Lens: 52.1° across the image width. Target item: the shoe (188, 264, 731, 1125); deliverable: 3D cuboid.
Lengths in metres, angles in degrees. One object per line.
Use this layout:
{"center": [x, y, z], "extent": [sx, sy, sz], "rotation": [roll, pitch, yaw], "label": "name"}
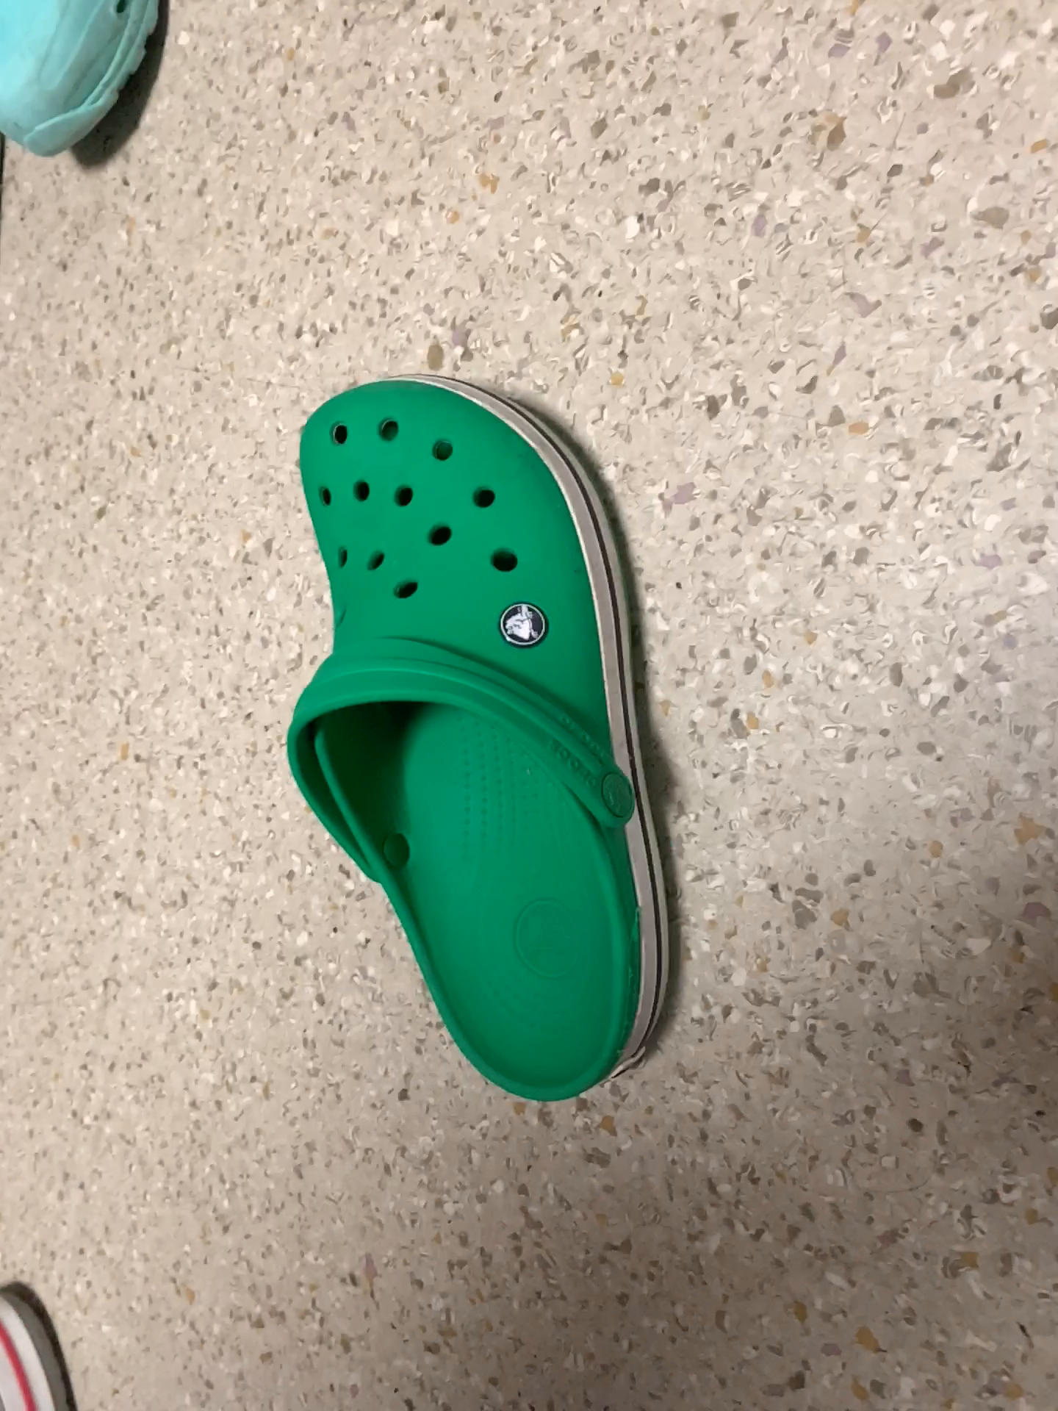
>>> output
{"center": [-0.026, 0.003, 0.351], "extent": [0.108, 0.082, 0.234], "rotation": [-16, 81, 35], "label": "shoe"}
